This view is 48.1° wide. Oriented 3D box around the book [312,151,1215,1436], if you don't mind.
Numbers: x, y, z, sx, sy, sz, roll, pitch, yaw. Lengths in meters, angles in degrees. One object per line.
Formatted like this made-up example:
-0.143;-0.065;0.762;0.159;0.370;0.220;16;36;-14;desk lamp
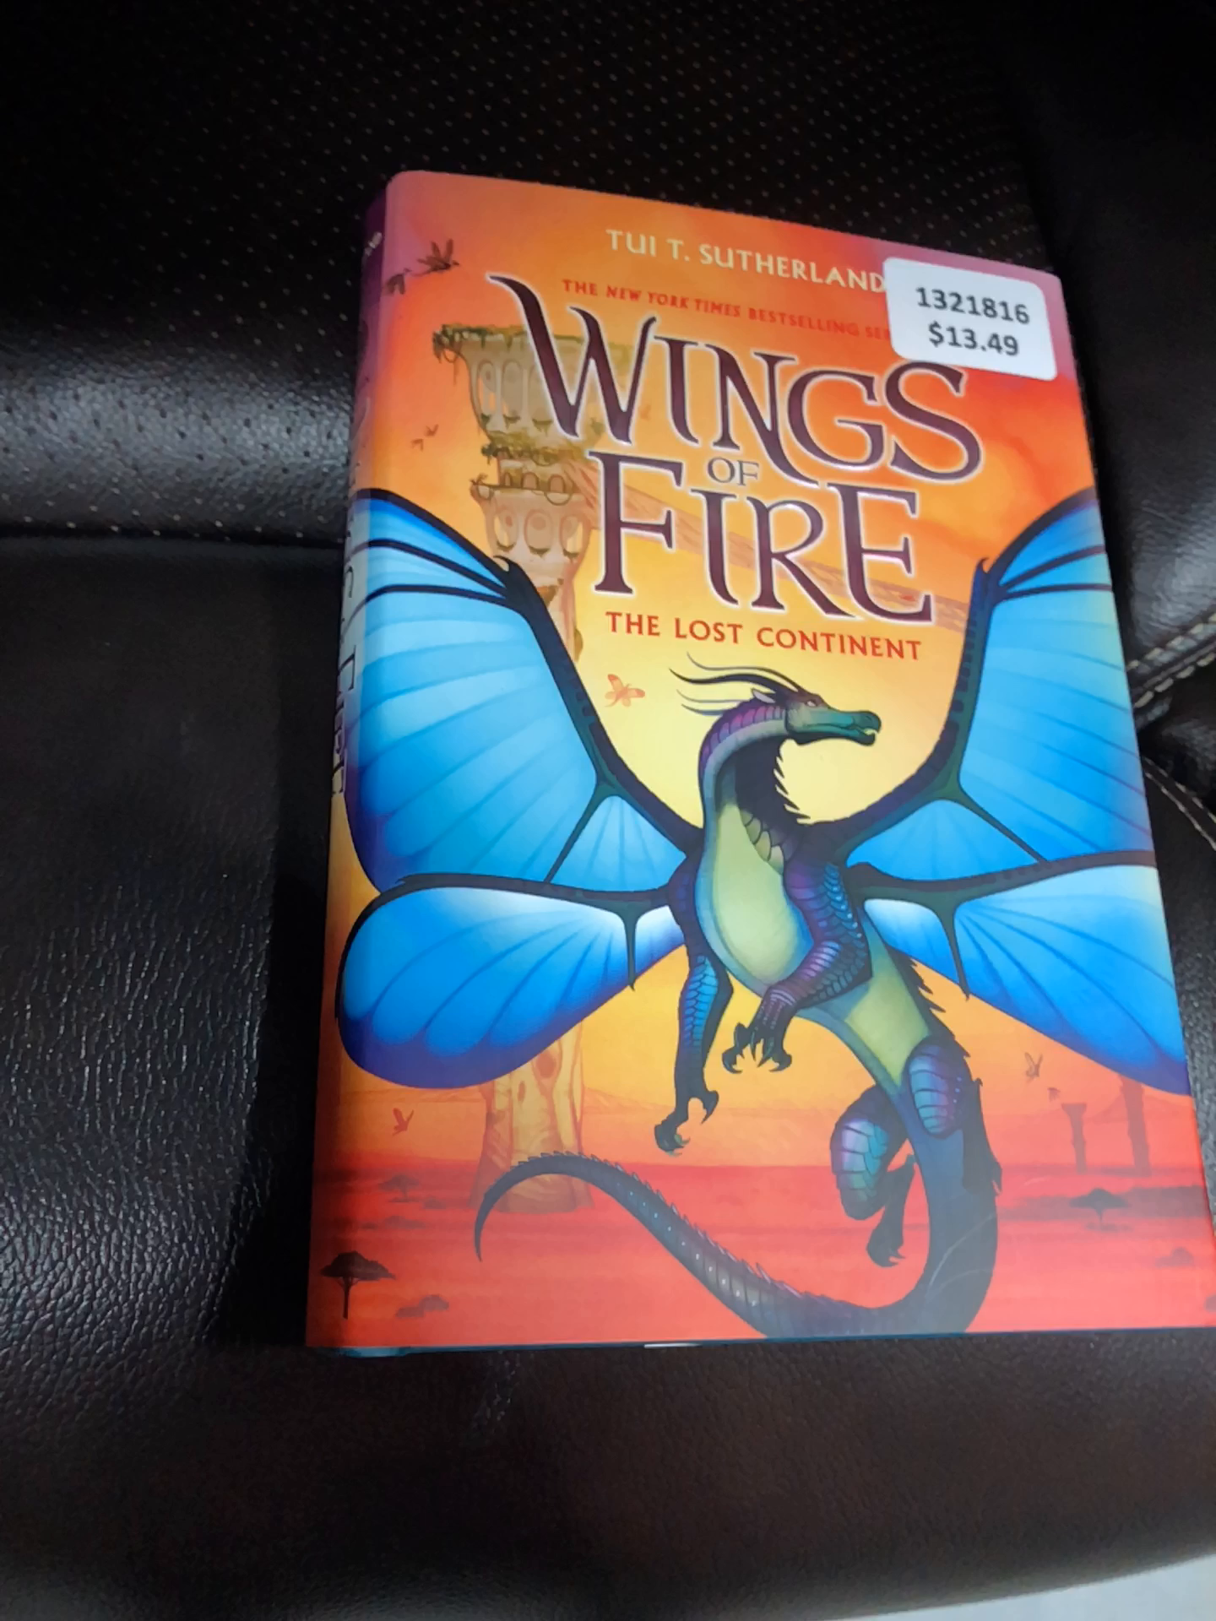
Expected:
0.031;-0.009;0.246;0.148;0.030;0.218;5;70;-12;book
